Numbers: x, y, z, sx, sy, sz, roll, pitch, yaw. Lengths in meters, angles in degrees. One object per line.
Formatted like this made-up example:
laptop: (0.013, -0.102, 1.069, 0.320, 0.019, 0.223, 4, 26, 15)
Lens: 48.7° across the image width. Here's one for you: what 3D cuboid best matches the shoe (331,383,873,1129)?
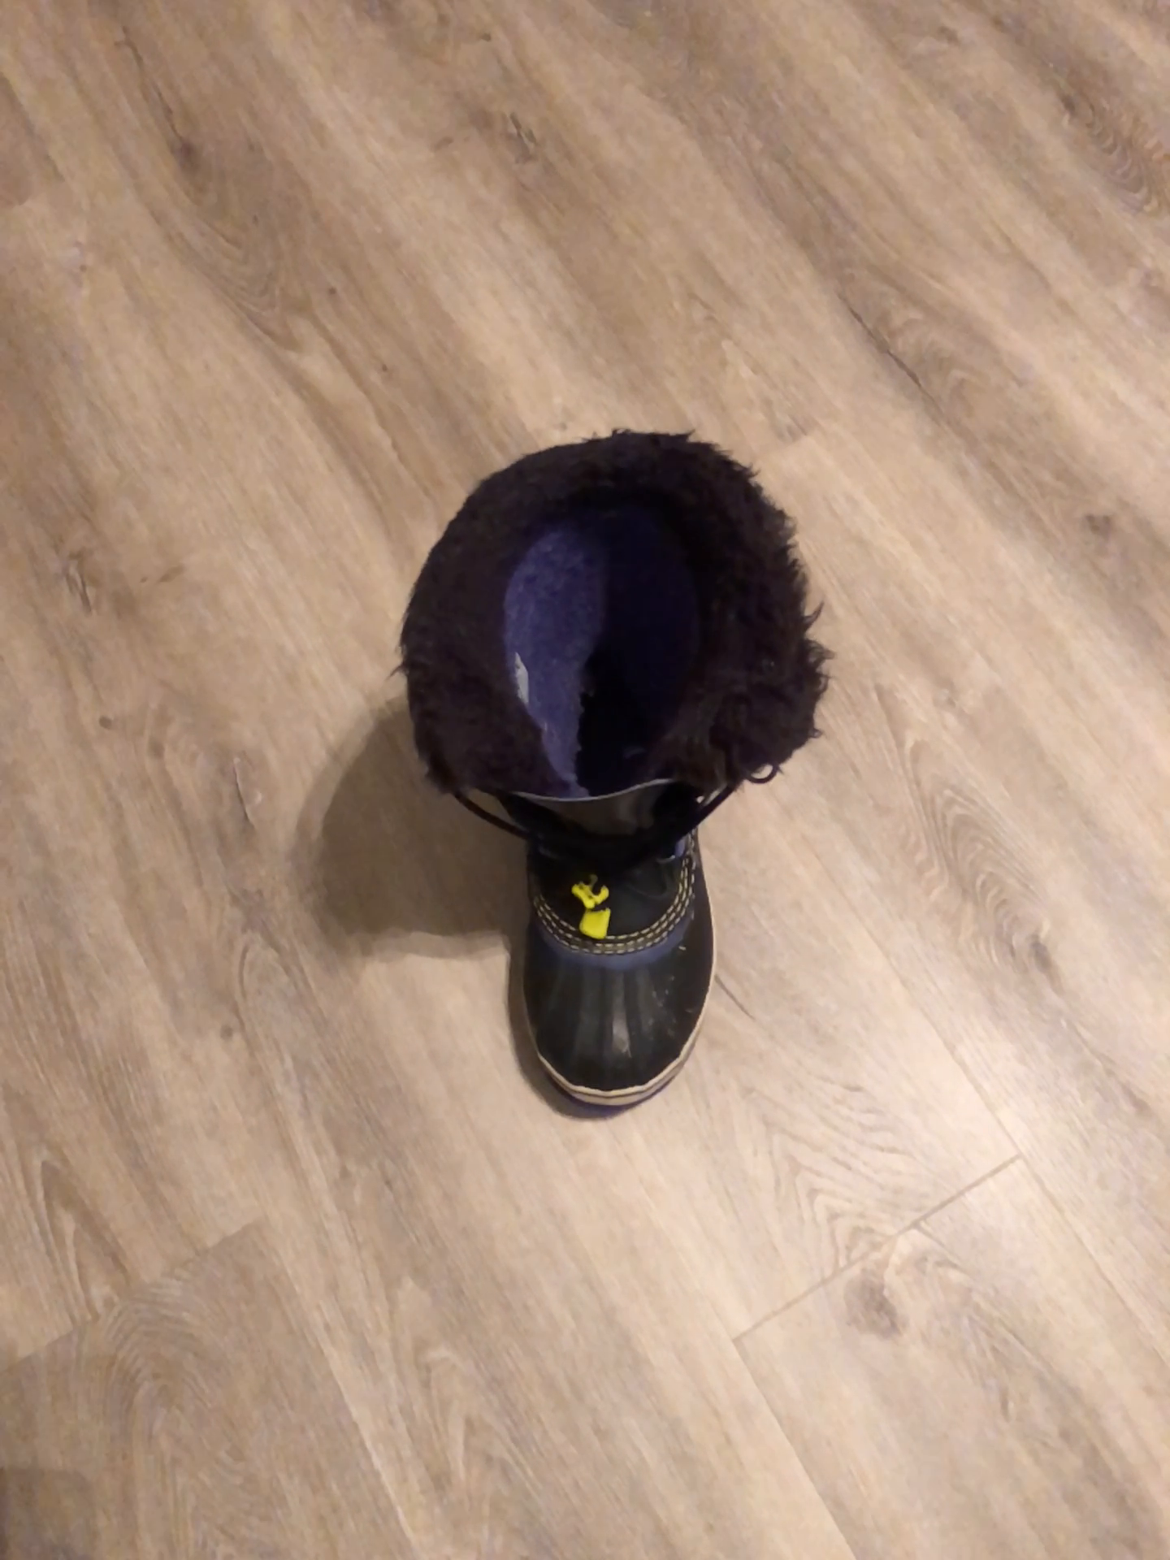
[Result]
shoe: (0.016, 0.012, 0.573, 0.170, 0.270, 0.240, 3, 70, 3)
